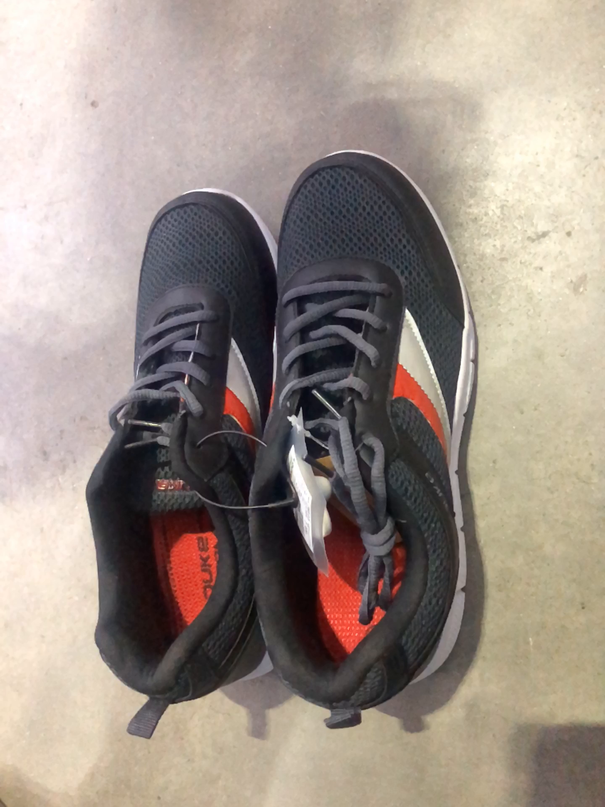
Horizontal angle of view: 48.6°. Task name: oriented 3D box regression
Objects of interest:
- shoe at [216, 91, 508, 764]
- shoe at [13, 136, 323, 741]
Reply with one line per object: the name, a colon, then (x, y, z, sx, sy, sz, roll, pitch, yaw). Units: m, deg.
shoe: (0.033, 0.011, 0.335, 0.110, 0.100, 0.270, -4, 85, 21)
shoe: (-0.070, 0.019, 0.364, 0.110, 0.100, 0.270, -8, 83, 21)
